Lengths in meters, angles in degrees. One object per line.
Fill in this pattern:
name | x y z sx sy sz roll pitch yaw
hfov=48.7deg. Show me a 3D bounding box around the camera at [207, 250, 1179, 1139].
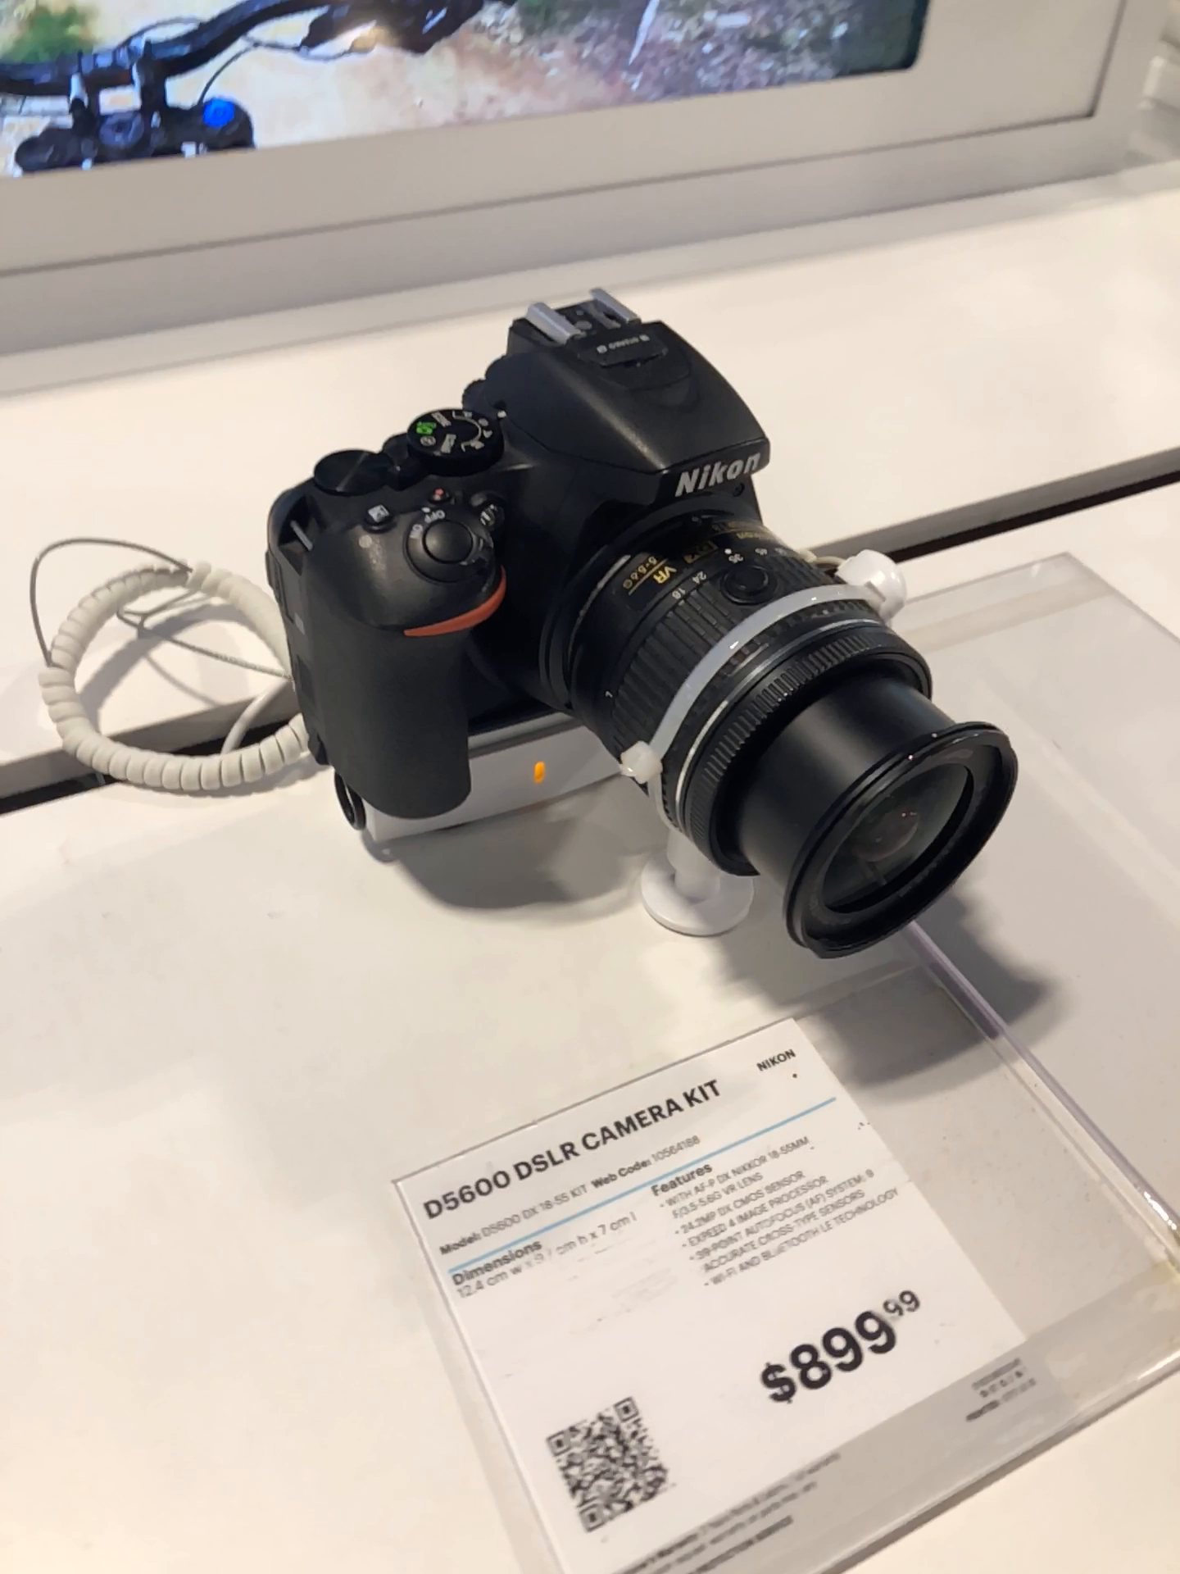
camera | 0.014 -0.033 0.279 0.130 0.089 0.141 -24 50 -24
